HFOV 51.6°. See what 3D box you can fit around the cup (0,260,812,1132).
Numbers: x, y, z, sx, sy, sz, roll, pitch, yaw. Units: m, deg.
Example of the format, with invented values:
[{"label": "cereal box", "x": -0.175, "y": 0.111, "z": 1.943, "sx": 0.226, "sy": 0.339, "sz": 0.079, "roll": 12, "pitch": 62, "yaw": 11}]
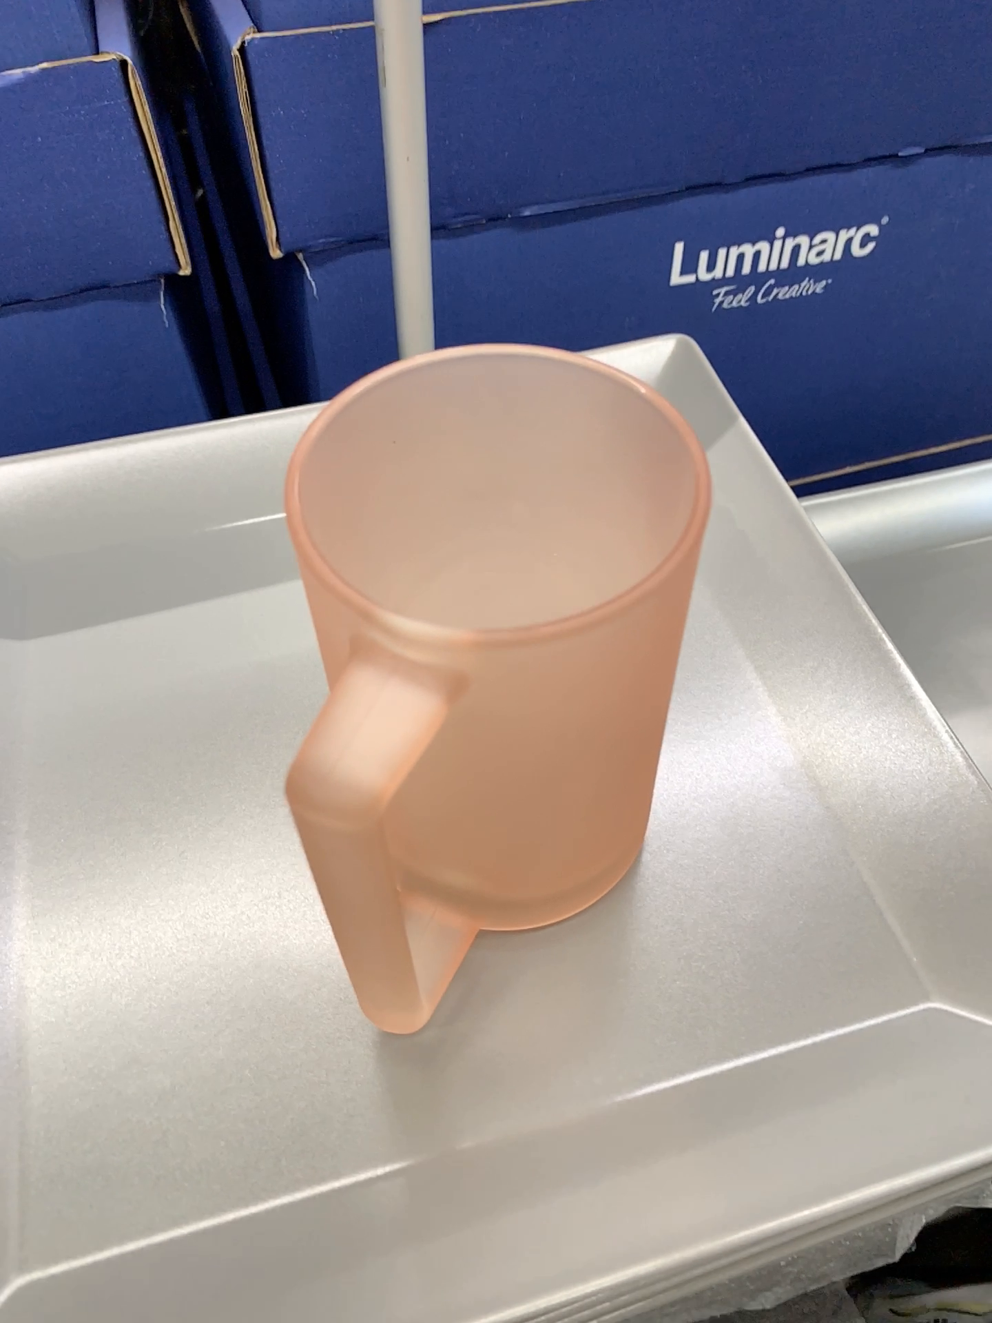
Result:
[{"label": "cup", "x": -0.010, "y": 0.002, "z": 0.208, "sx": 0.095, "sy": 0.095, "sz": 0.120, "roll": 21, "pitch": 53, "yaw": 19}]
